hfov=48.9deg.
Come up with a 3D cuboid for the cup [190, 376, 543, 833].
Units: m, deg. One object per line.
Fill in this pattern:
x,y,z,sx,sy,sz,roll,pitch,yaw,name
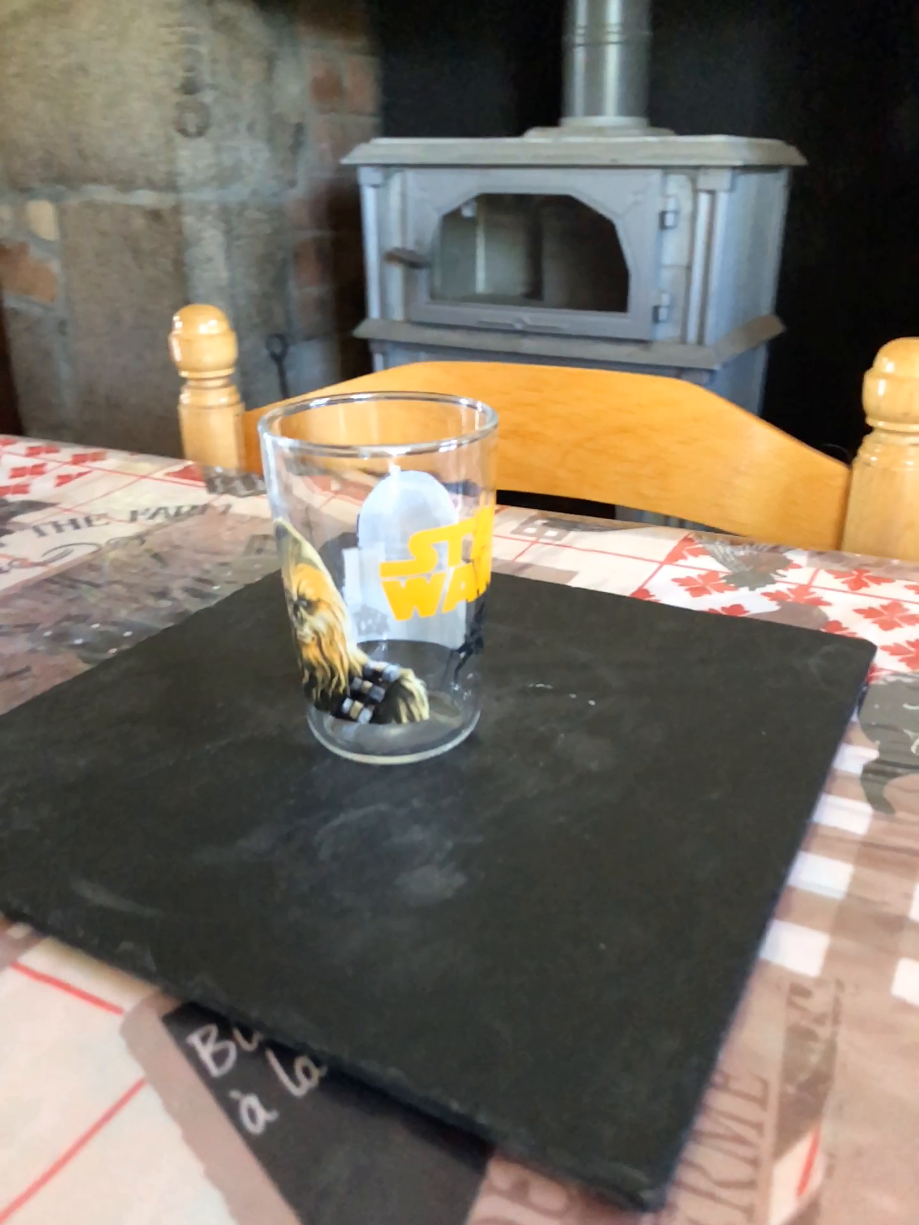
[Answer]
-0.026,-0.008,0.287,0.070,0.099,0.070,0,23,0,cup
